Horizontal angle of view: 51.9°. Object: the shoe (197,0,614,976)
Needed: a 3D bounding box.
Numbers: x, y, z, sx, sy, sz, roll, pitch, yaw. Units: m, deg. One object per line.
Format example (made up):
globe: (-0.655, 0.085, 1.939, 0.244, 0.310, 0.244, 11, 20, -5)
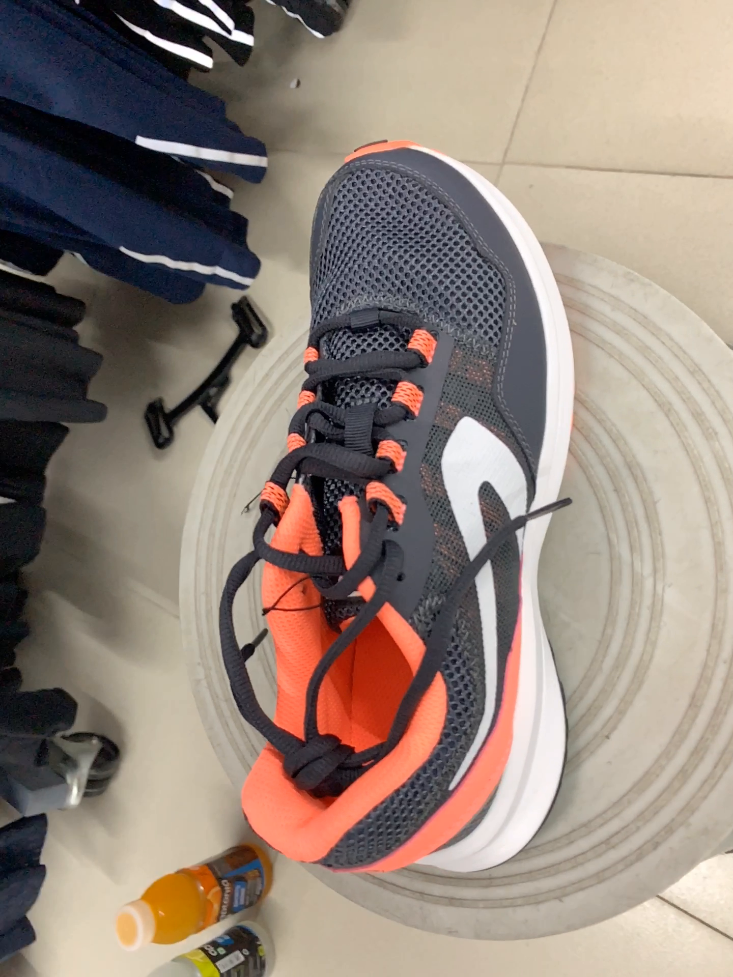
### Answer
shoe: (0.019, -0.007, 0.286, 0.100, 0.120, 0.290, -6, 80, 32)
